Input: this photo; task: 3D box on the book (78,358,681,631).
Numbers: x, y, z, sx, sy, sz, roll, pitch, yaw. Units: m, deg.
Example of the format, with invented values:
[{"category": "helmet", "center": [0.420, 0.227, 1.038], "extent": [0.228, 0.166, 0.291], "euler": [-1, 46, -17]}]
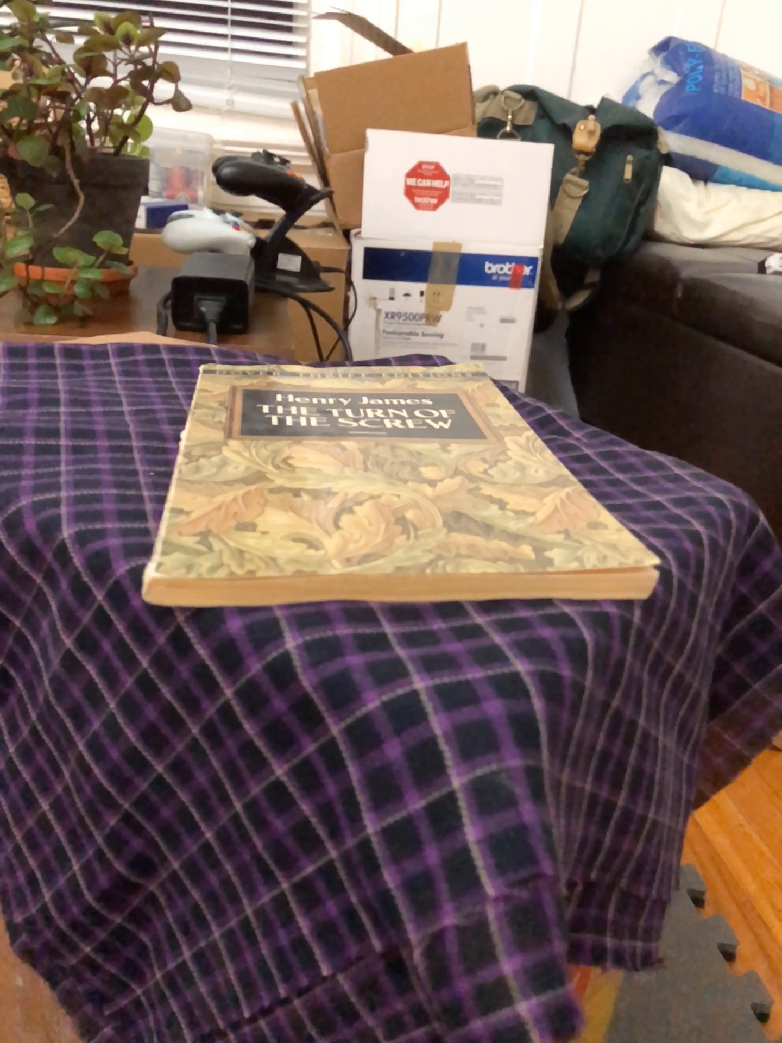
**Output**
[{"category": "book", "center": [-0.015, -0.024, 0.300], "extent": [0.140, 0.010, 0.221], "euler": [1, 23, -9]}]
